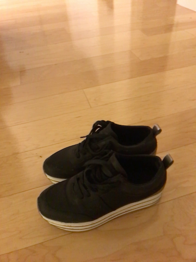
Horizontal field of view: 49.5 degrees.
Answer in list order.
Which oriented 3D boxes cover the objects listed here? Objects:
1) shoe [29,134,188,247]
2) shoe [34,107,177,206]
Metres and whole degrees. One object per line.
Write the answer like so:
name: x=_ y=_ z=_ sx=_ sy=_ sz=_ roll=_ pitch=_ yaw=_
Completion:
shoe: x=0.018 y=0.116 z=0.451 sx=0.290 sy=0.099 sz=0.121 roll=-14 pitch=43 yaw=-10
shoe: x=0.015 y=0.052 z=0.503 sx=0.290 sy=0.109 sz=0.121 roll=-14 pitch=43 yaw=-10
